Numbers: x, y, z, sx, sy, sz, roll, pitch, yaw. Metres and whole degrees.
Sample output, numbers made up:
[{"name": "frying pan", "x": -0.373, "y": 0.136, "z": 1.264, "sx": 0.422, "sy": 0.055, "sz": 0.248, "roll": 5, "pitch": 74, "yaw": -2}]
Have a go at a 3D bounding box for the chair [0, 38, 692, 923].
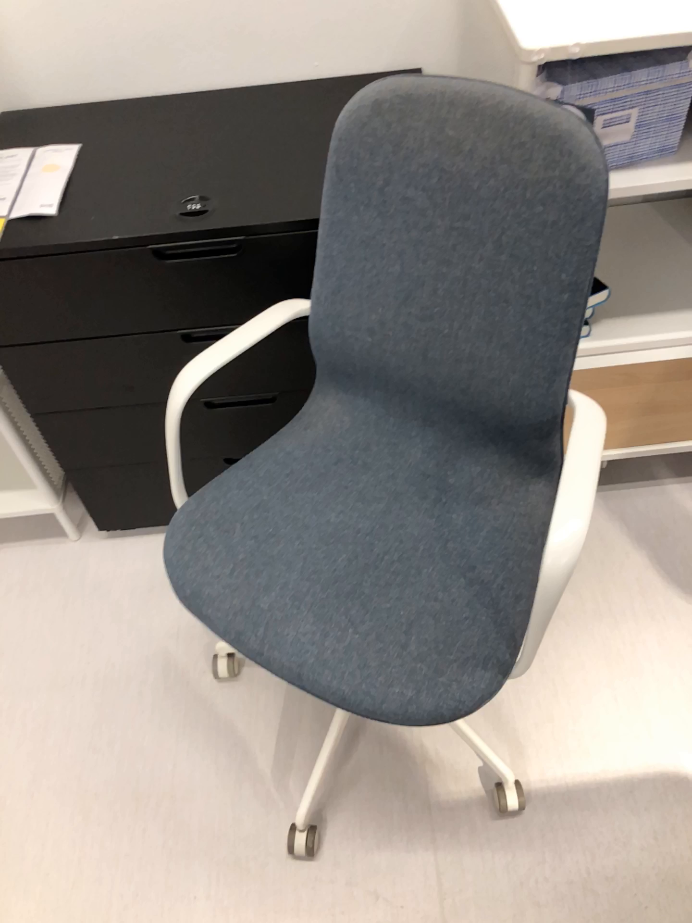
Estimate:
[{"name": "chair", "x": 0.007, "y": 0.103, "z": 1.081, "sx": 0.701, "sy": 0.994, "sz": 0.703, "roll": 16, "pitch": 55, "yaw": 18}]
